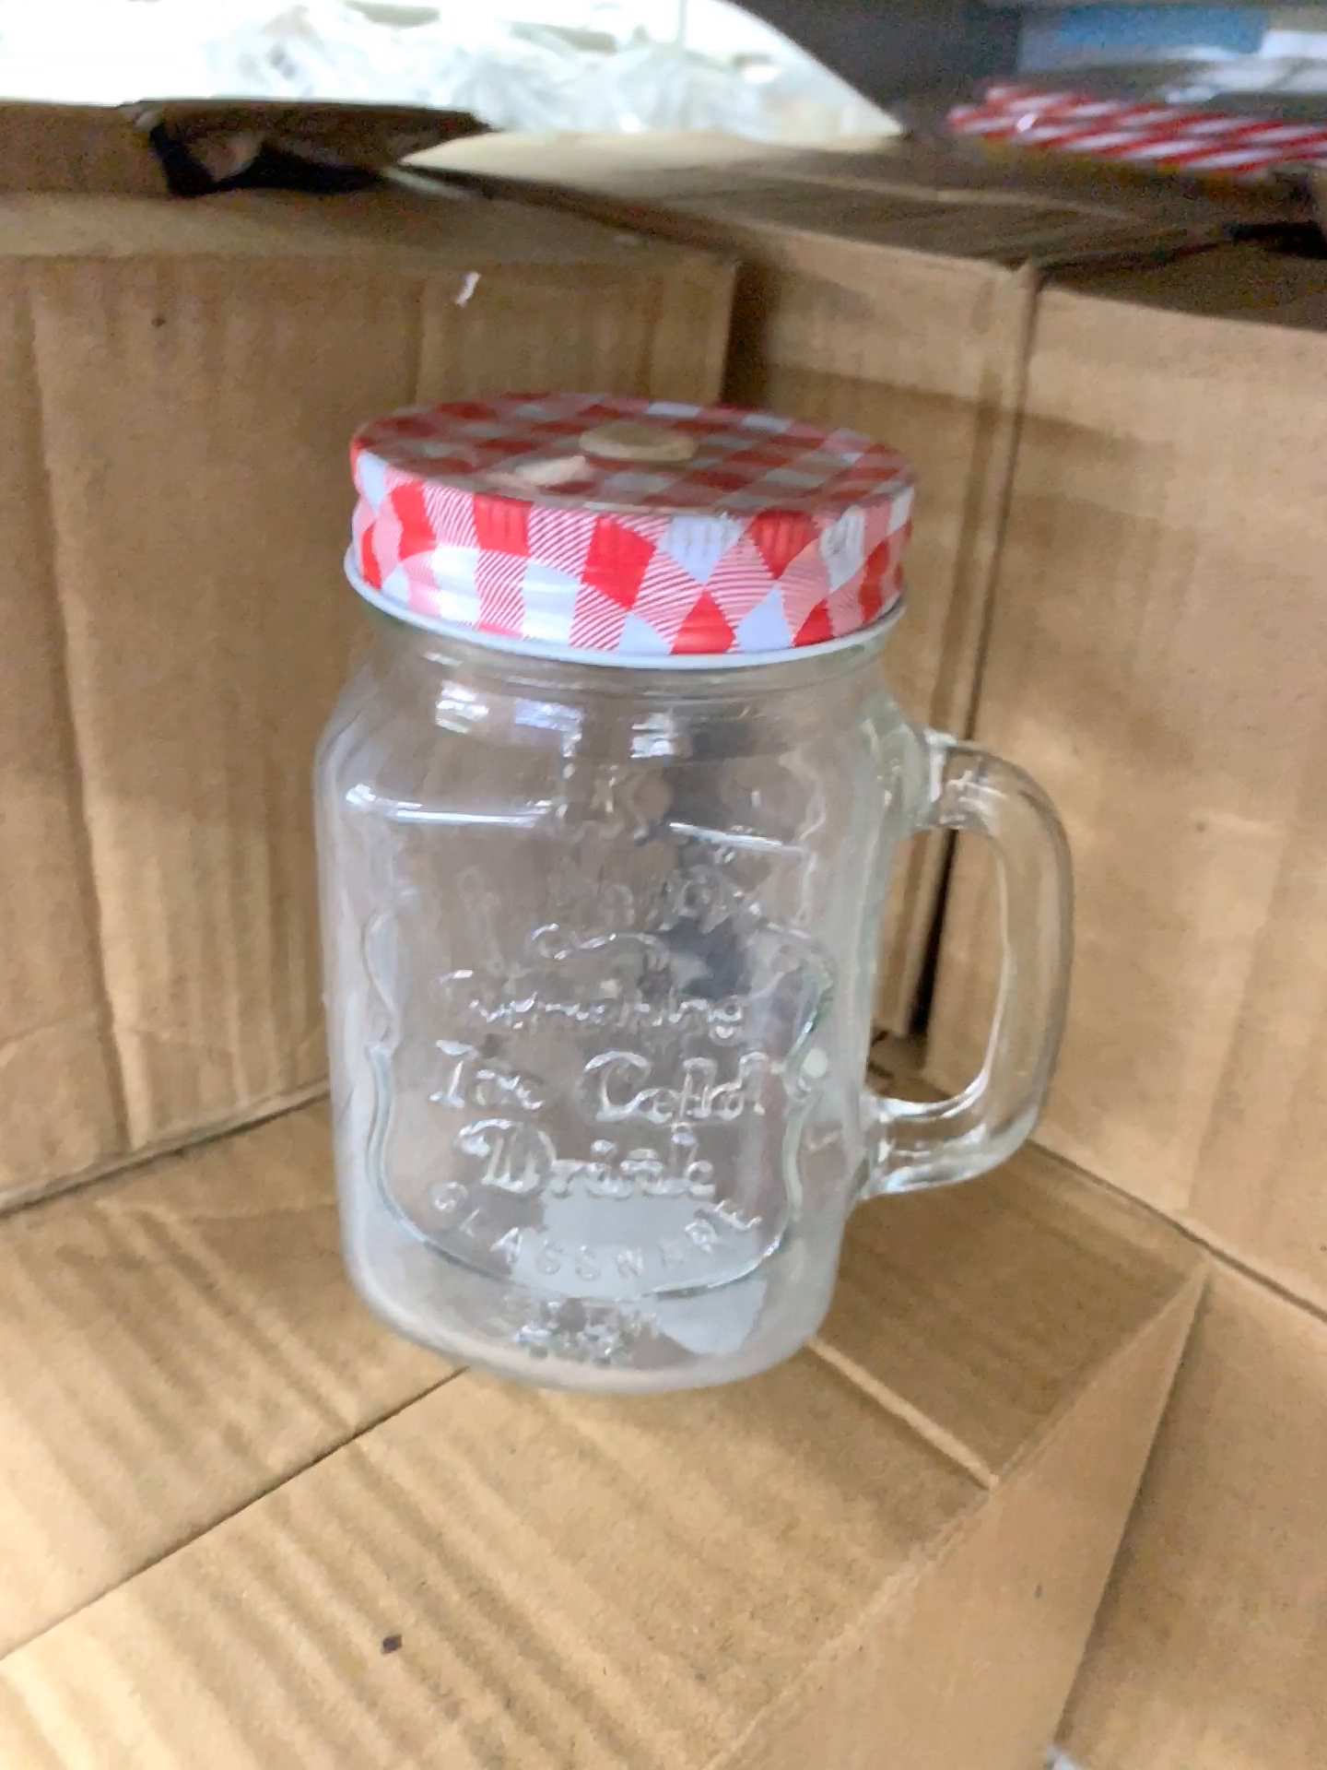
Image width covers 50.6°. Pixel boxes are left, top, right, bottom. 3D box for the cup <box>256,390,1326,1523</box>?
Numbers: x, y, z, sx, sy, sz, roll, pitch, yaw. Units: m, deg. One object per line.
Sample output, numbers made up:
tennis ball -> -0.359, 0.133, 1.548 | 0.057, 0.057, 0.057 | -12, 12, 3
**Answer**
cup -> 0.014, 0.003, 0.191 | 0.100, 0.119, 0.081 | 6, 25, 7
